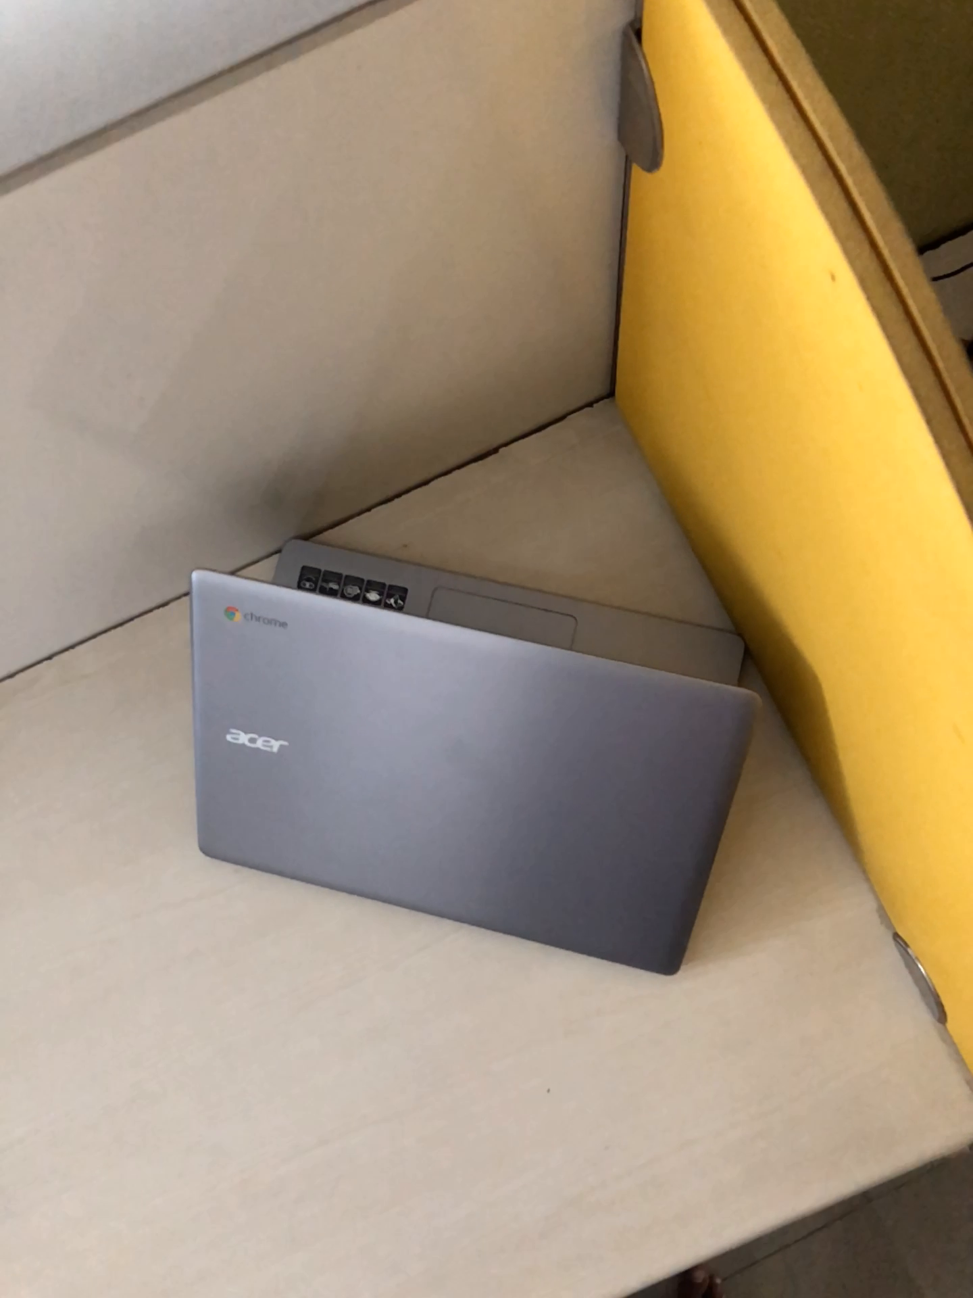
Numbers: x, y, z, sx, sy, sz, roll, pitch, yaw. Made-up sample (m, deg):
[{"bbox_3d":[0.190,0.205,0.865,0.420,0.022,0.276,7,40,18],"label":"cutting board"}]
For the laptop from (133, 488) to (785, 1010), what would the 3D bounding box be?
[{"bbox_3d":[-0.011,0.058,0.653,0.314,0.135,0.221,13,83,6],"label":"laptop"}]
